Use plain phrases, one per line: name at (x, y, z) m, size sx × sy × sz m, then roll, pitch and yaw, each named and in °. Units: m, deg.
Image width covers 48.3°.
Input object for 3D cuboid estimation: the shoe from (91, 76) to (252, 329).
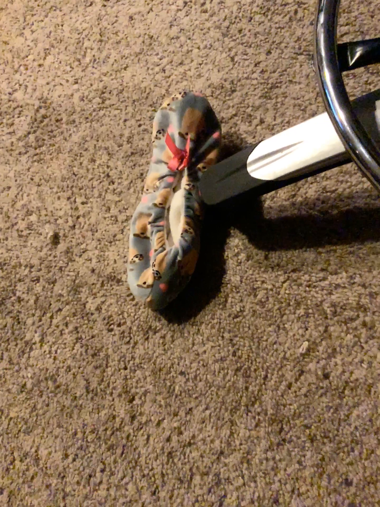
shoe at (-0.013, -0.058, 0.470) m, size 0.120 × 0.070 × 0.260 m, roll 5°, pitch 76°, yaw 19°
